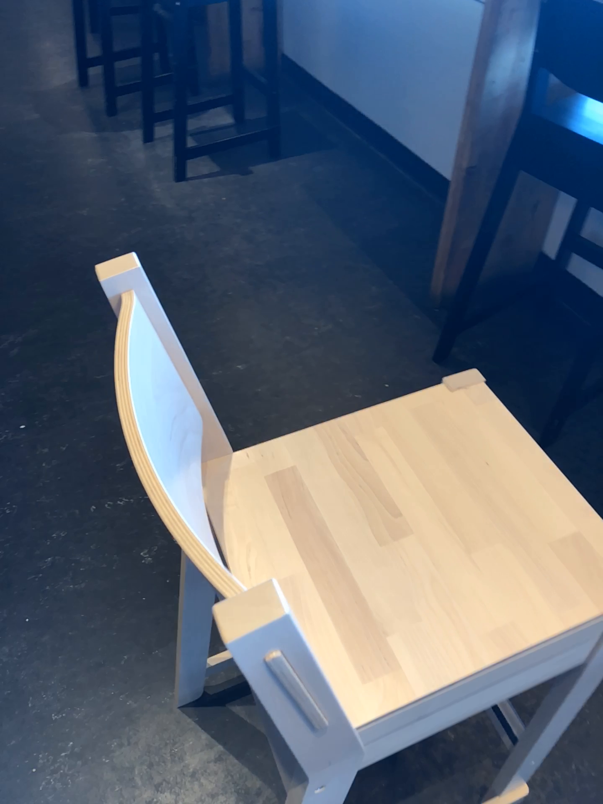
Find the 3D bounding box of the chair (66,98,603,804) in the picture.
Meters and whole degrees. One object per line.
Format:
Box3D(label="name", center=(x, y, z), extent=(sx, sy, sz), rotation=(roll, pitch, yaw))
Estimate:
Box3D(label="chair", center=(0.141, 0.250, 0.822), extent=(0.540, 0.976, 0.461), rotation=(-17, 49, -16))
